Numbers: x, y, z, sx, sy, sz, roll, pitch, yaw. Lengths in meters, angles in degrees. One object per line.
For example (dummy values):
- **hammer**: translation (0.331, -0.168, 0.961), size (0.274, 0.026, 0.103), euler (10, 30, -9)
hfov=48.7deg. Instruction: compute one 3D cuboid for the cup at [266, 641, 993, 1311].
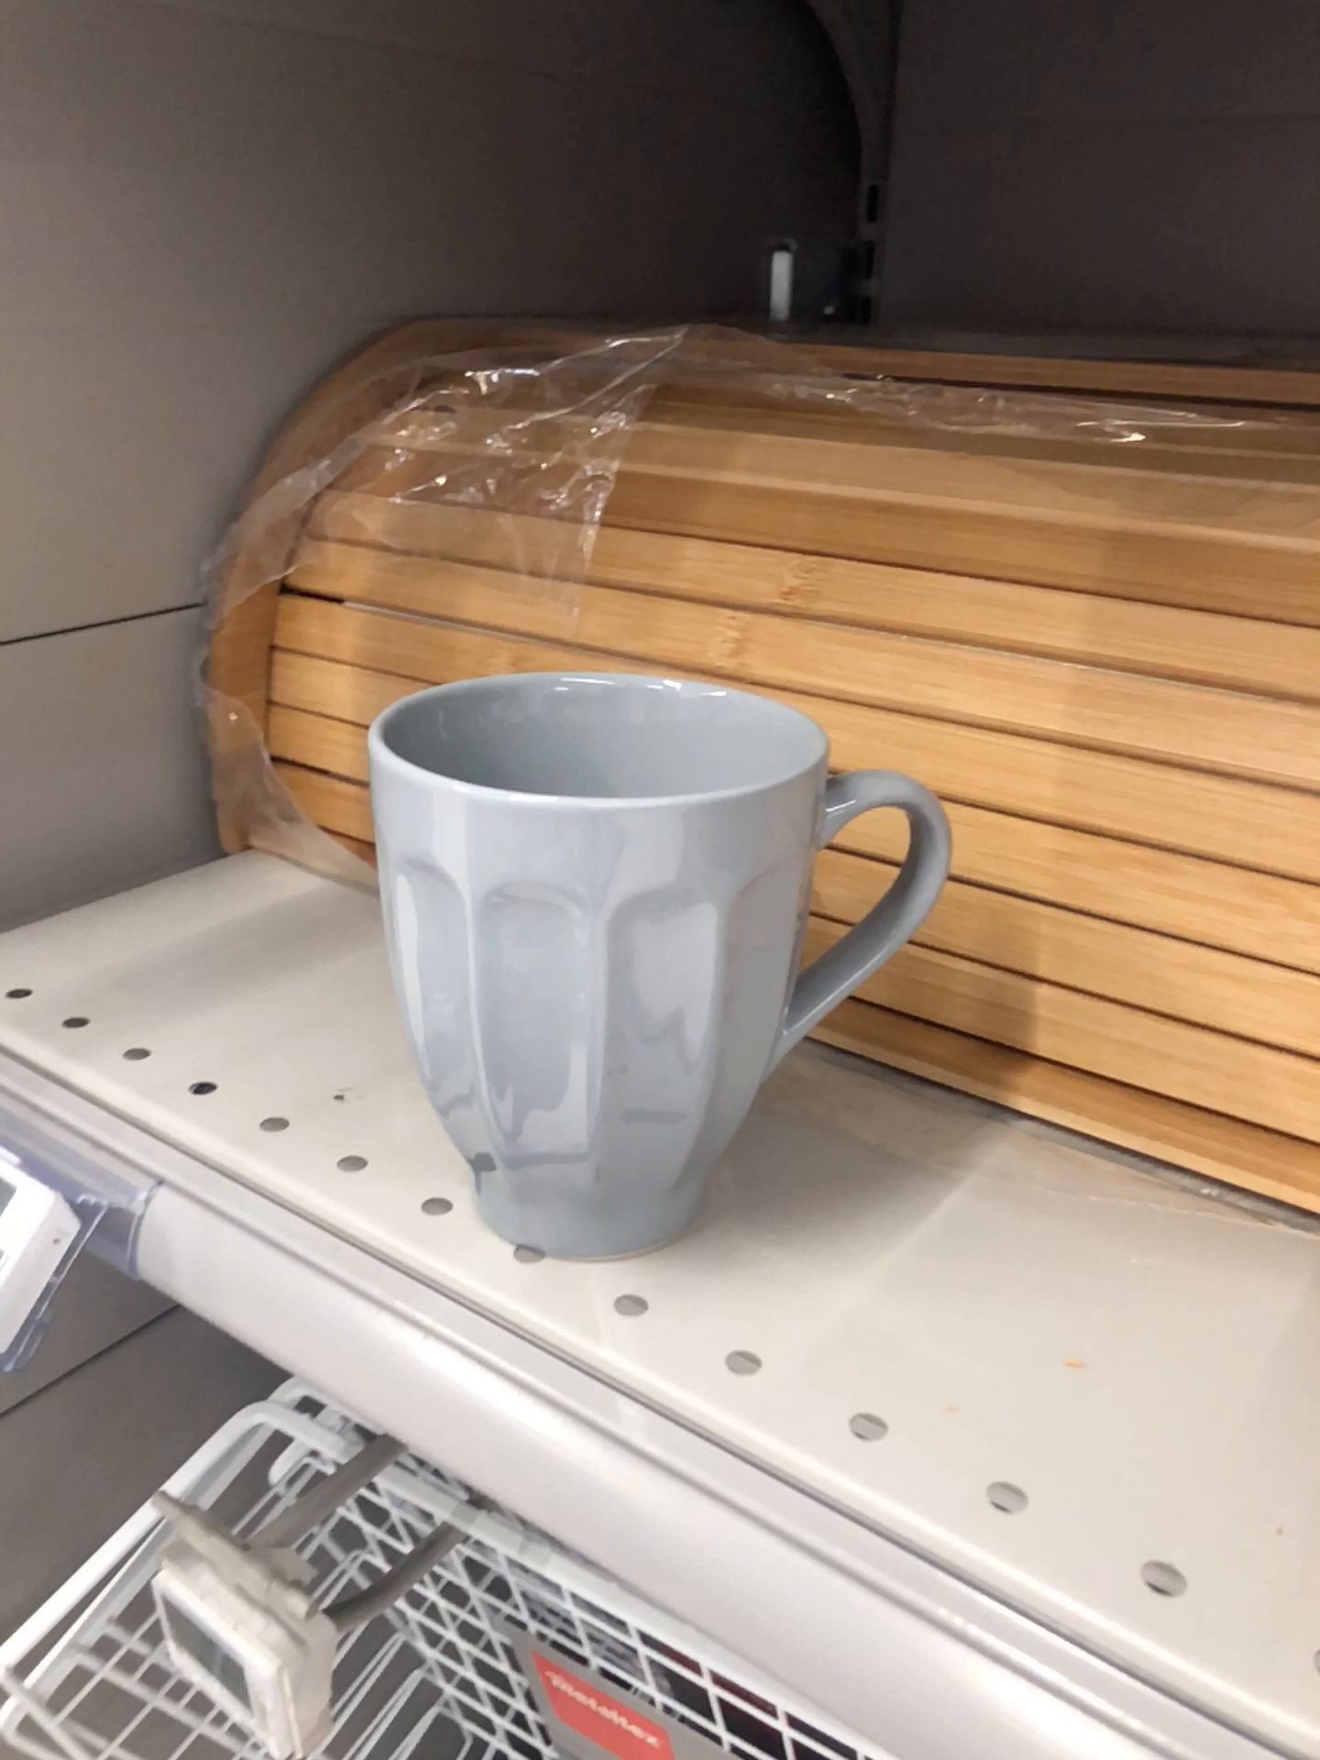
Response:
- **cup**: translation (-0.012, 0.010, 0.297), size (0.117, 0.091, 0.093), euler (-7, 24, -19)
